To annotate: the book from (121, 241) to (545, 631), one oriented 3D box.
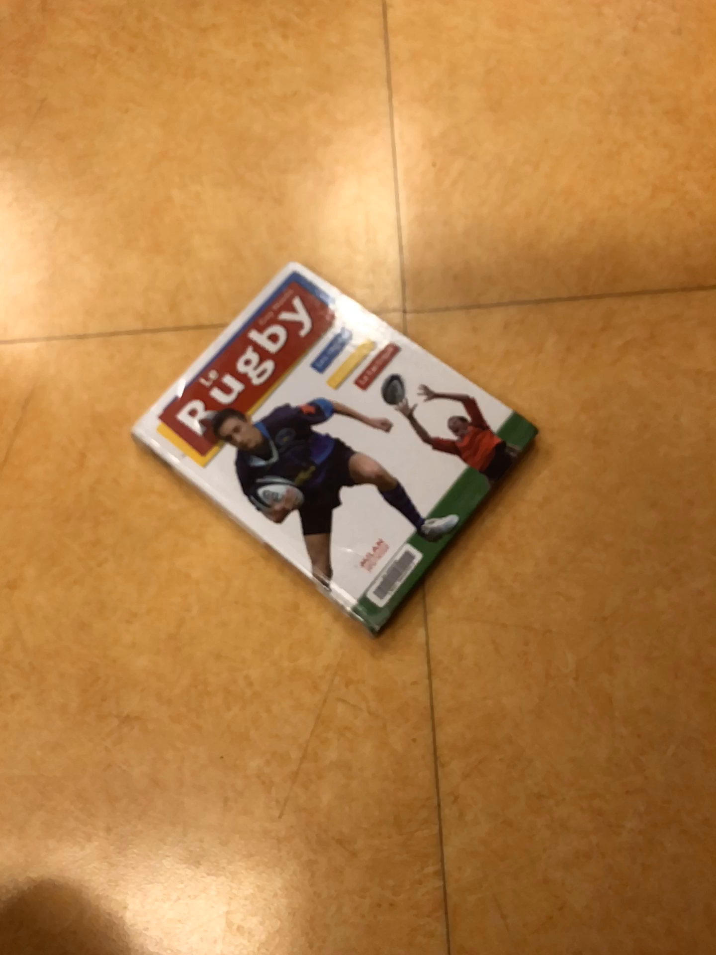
[{"bbox_3d":[-0.022,-0.043,0.627,0.260,0.024,0.203,37,78,15],"label":"book"}]
